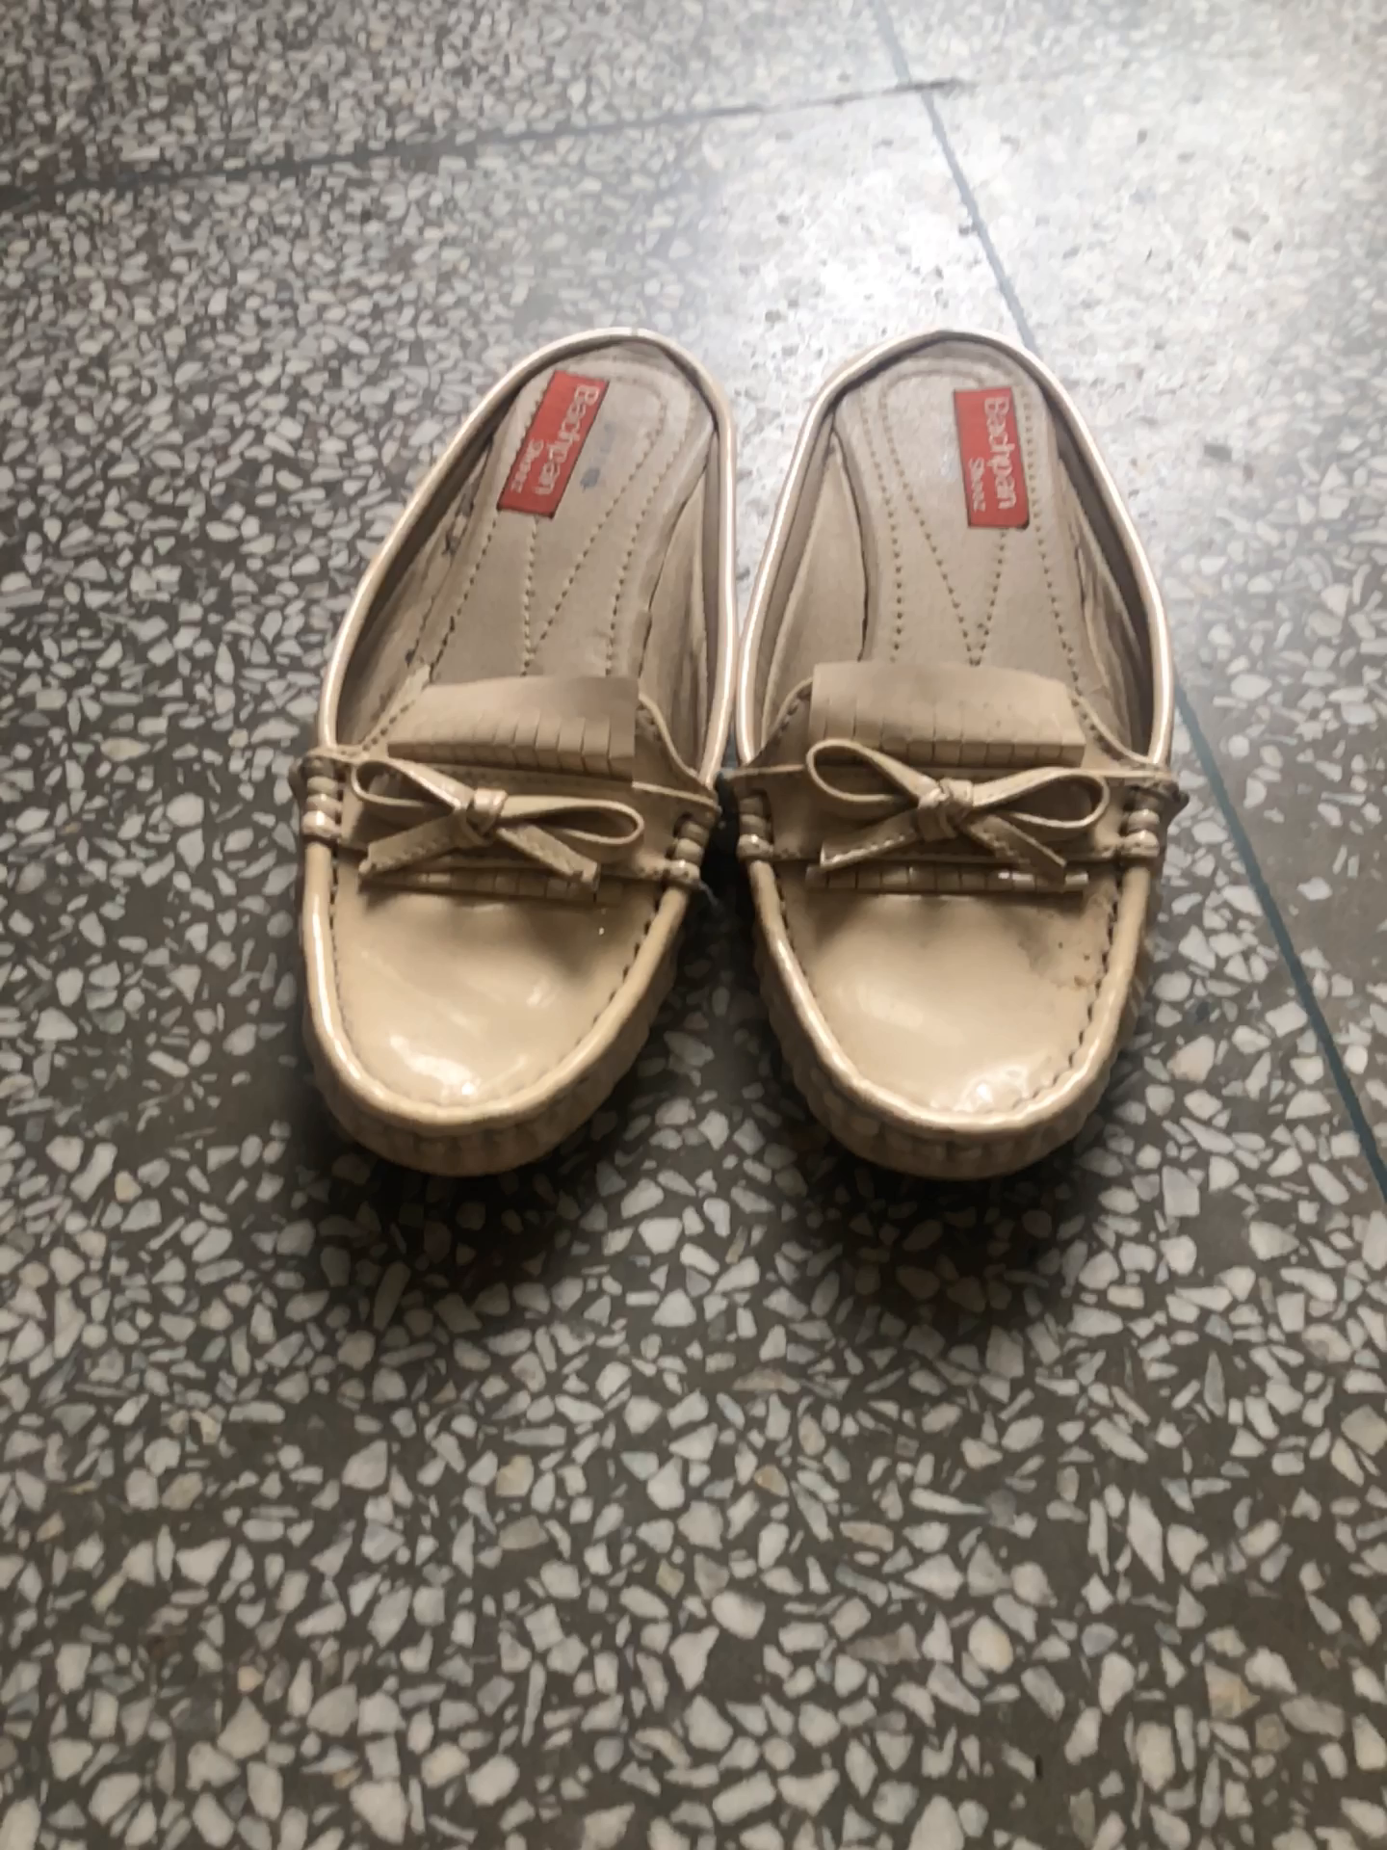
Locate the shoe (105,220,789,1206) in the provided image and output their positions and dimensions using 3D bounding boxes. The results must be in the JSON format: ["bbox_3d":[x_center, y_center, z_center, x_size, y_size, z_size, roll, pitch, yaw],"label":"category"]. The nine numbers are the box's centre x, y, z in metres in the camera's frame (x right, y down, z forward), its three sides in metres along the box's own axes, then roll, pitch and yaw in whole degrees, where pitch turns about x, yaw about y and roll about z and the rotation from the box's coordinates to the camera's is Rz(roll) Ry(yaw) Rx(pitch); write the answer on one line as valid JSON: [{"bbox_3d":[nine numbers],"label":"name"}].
[{"bbox_3d":[-0.038,-0.058,0.327,0.090,0.040,0.220,7,61,6],"label":"shoe"}]

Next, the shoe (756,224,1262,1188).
[{"bbox_3d":[0.059,-0.056,0.314,0.080,0.040,0.210,3,61,4],"label":"shoe"}]
